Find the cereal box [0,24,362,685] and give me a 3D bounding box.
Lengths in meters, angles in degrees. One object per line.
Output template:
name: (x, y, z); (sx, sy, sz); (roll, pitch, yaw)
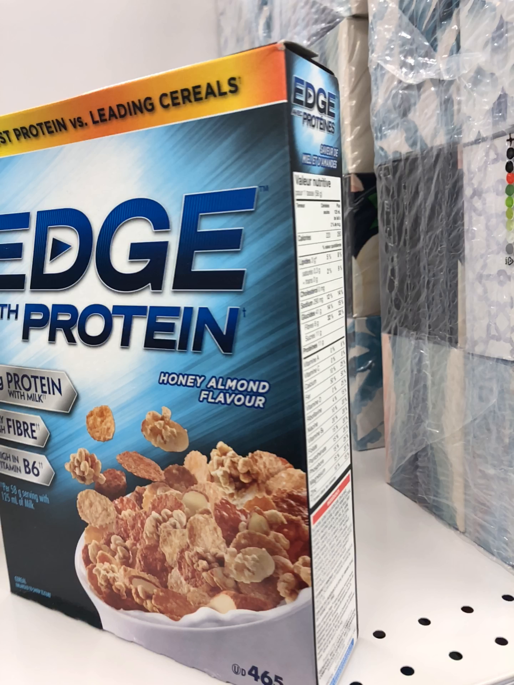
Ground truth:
cereal box: (-0.057, 0.022, 0.289); (0.200, 0.279, 0.050); (2, 12, 30)
